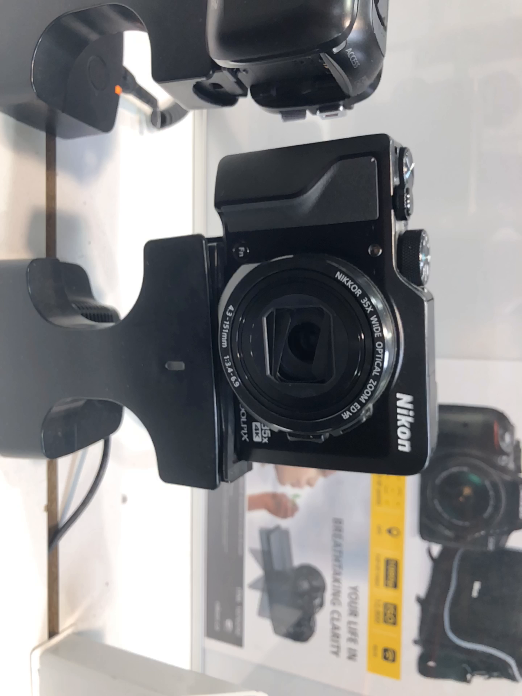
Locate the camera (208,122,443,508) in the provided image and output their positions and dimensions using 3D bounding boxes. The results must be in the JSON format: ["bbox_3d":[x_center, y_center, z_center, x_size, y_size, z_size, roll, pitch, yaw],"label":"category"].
[{"bbox_3d":[0.026,-0.012,0.207,0.044,0.069,0.116,-33,123,-67],"label":"camera"}]
